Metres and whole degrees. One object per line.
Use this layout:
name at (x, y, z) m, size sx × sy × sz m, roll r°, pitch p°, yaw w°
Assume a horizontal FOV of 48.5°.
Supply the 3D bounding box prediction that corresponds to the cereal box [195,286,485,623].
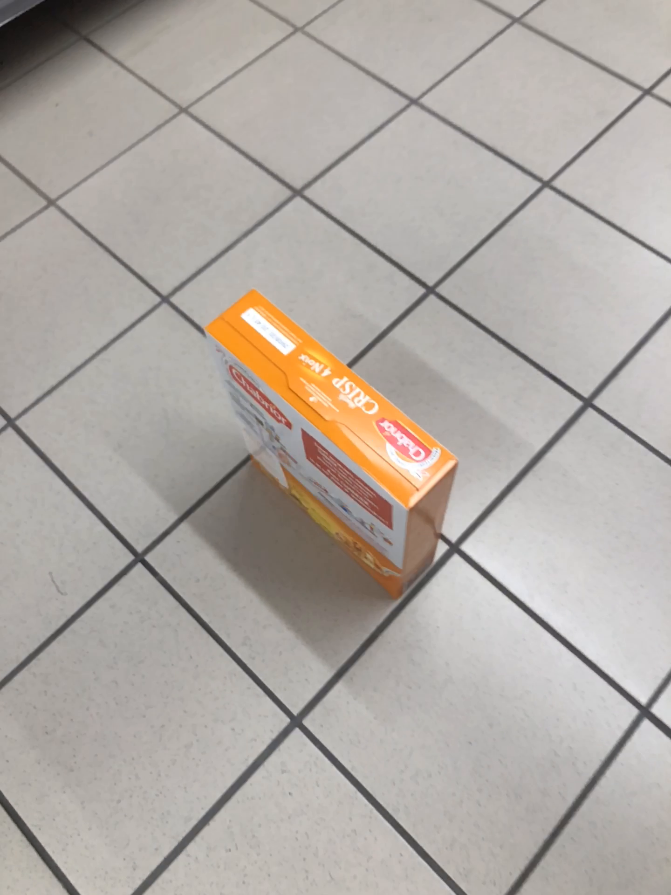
cereal box at (0.002, 0.018, 0.571) m, size 0.060 × 0.219 × 0.200 m, roll -42°, pitch 70°, yaw -17°
